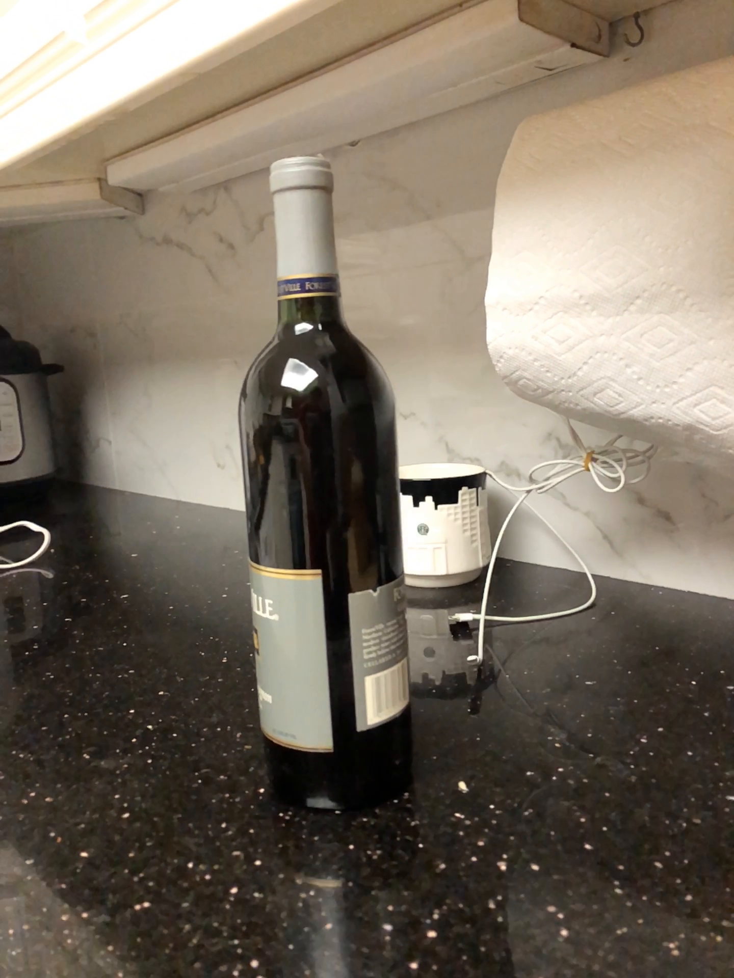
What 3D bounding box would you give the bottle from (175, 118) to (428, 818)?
[{"bbox_3d":[-0.022,-0.004,0.385,0.090,0.299,0.080,-2,9,4],"label":"bottle"}]
